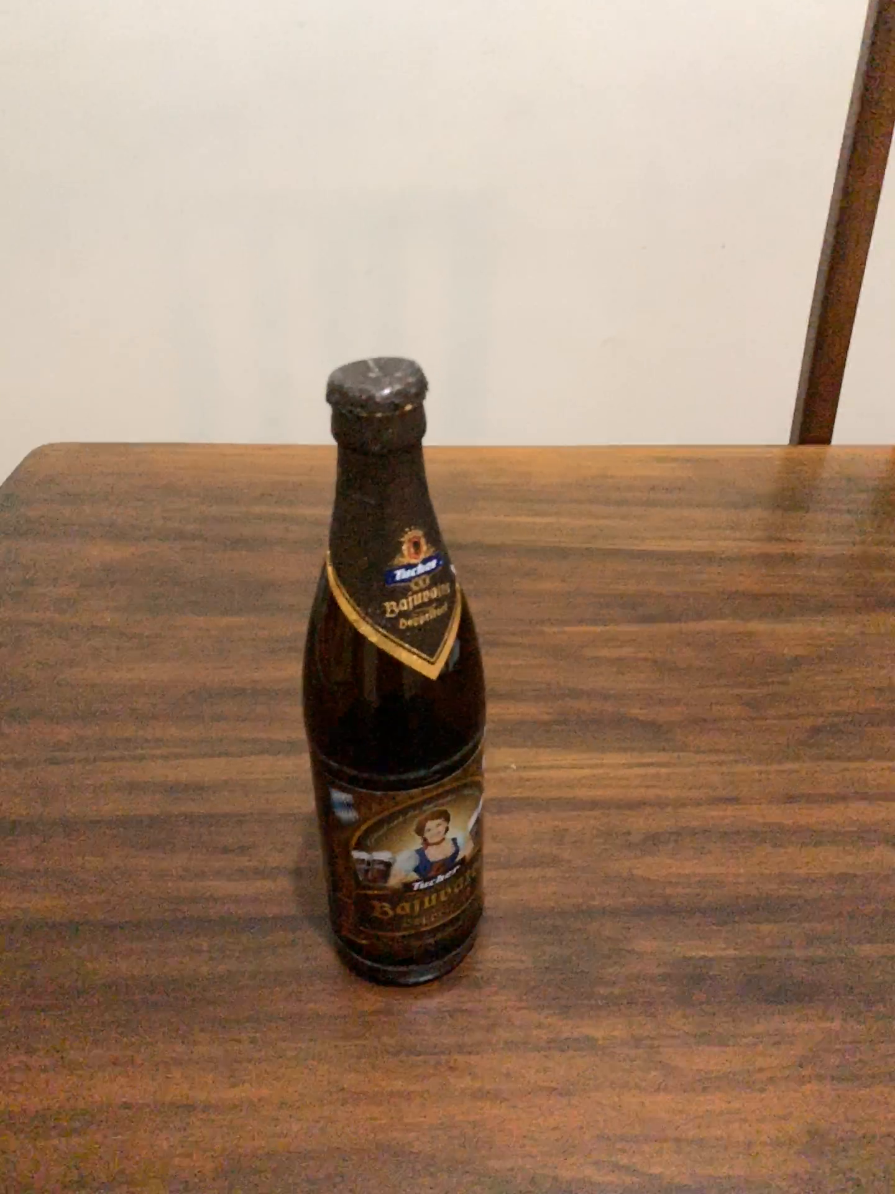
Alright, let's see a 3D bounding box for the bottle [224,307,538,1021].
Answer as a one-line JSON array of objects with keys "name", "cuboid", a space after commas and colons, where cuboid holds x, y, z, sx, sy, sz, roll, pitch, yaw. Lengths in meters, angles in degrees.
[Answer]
[{"name": "bottle", "cuboid": [-0.018, 0.041, 0.340, 0.070, 0.268, 0.060, -20, 39, -24]}]
